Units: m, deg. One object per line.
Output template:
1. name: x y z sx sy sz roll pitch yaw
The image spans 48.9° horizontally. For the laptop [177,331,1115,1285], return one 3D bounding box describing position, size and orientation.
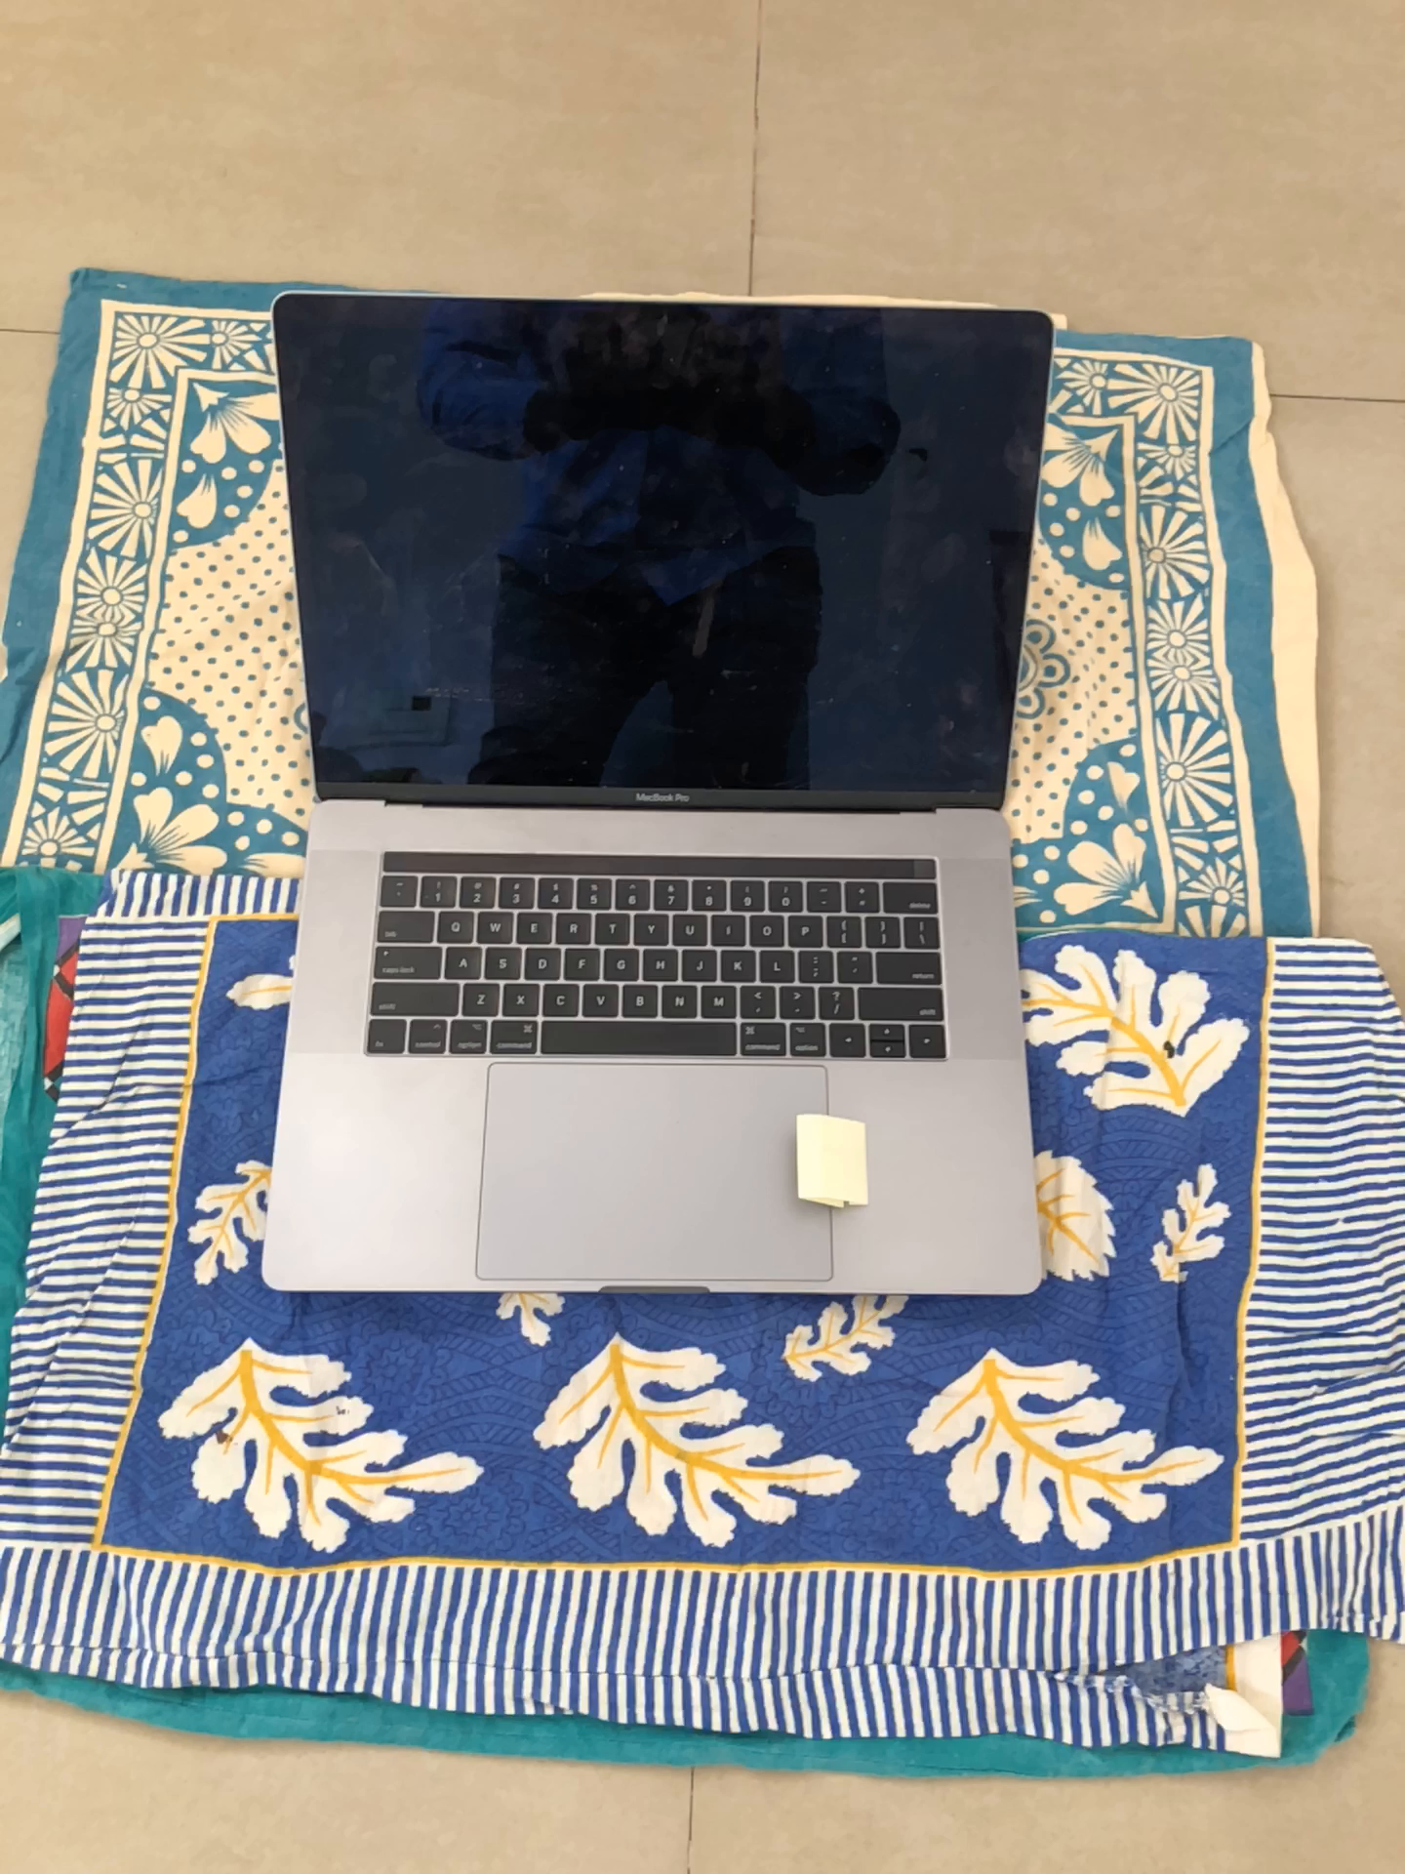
1. laptop: -0.019 -0.057 0.683 0.336 0.132 0.402 1 71 -2
